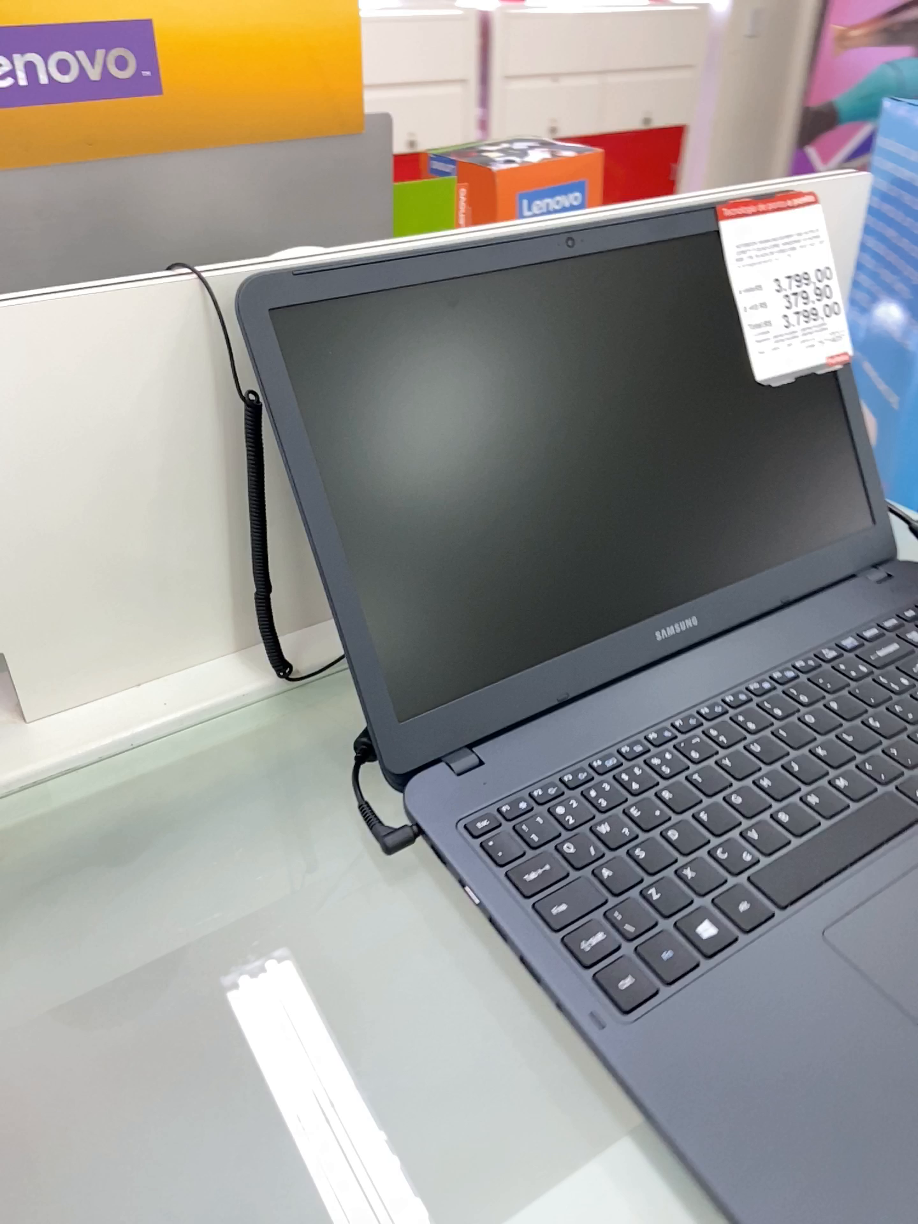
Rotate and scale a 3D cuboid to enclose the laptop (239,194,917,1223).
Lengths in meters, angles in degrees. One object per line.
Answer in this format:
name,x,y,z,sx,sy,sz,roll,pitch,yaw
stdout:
laptop,0.160,-0.032,0.418,0.371,0.192,0.370,-20,39,-26
